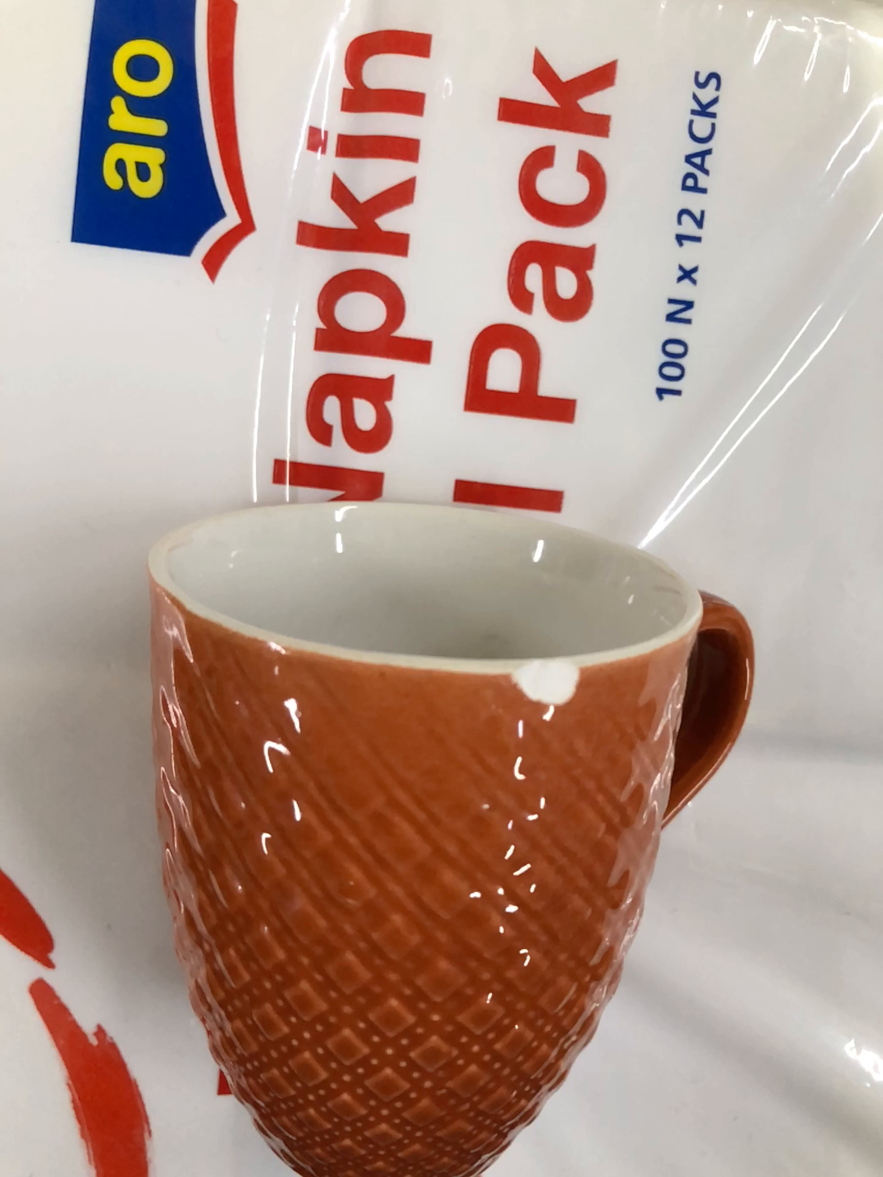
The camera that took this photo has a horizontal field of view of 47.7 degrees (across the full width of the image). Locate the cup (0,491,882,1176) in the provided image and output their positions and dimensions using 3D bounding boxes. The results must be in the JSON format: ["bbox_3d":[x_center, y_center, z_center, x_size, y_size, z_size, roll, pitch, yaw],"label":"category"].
[{"bbox_3d":[0.004,0.037,0.131,0.070,0.100,0.090,14,105,41],"label":"cup"}]
